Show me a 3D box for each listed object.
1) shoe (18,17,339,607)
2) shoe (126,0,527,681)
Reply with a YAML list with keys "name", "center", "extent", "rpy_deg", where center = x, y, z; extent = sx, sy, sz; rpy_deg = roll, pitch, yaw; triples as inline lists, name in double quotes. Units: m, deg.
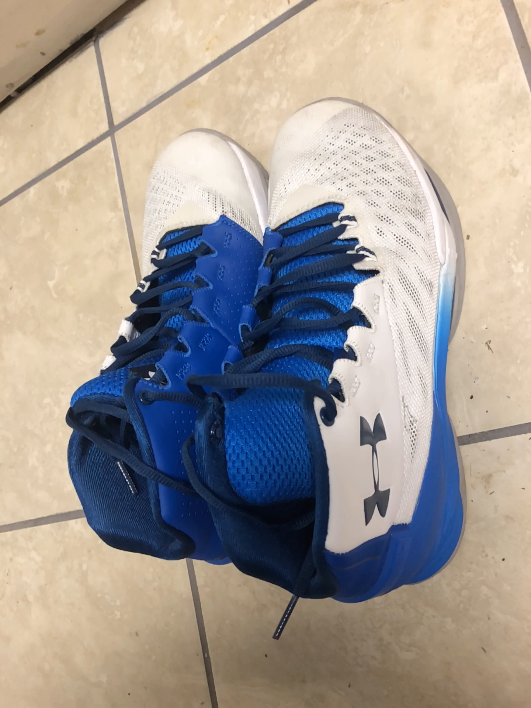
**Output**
- name: "shoe"
  center: [-0.058, -0.018, 0.370]
  extent: [0.120, 0.100, 0.310]
  rpy_deg: [-15, 80, 31]
- name: "shoe"
  center: [0.031, -0.030, 0.311]
  extent: [0.120, 0.129, 0.322]
  rpy_deg: [-14, 78, 31]
